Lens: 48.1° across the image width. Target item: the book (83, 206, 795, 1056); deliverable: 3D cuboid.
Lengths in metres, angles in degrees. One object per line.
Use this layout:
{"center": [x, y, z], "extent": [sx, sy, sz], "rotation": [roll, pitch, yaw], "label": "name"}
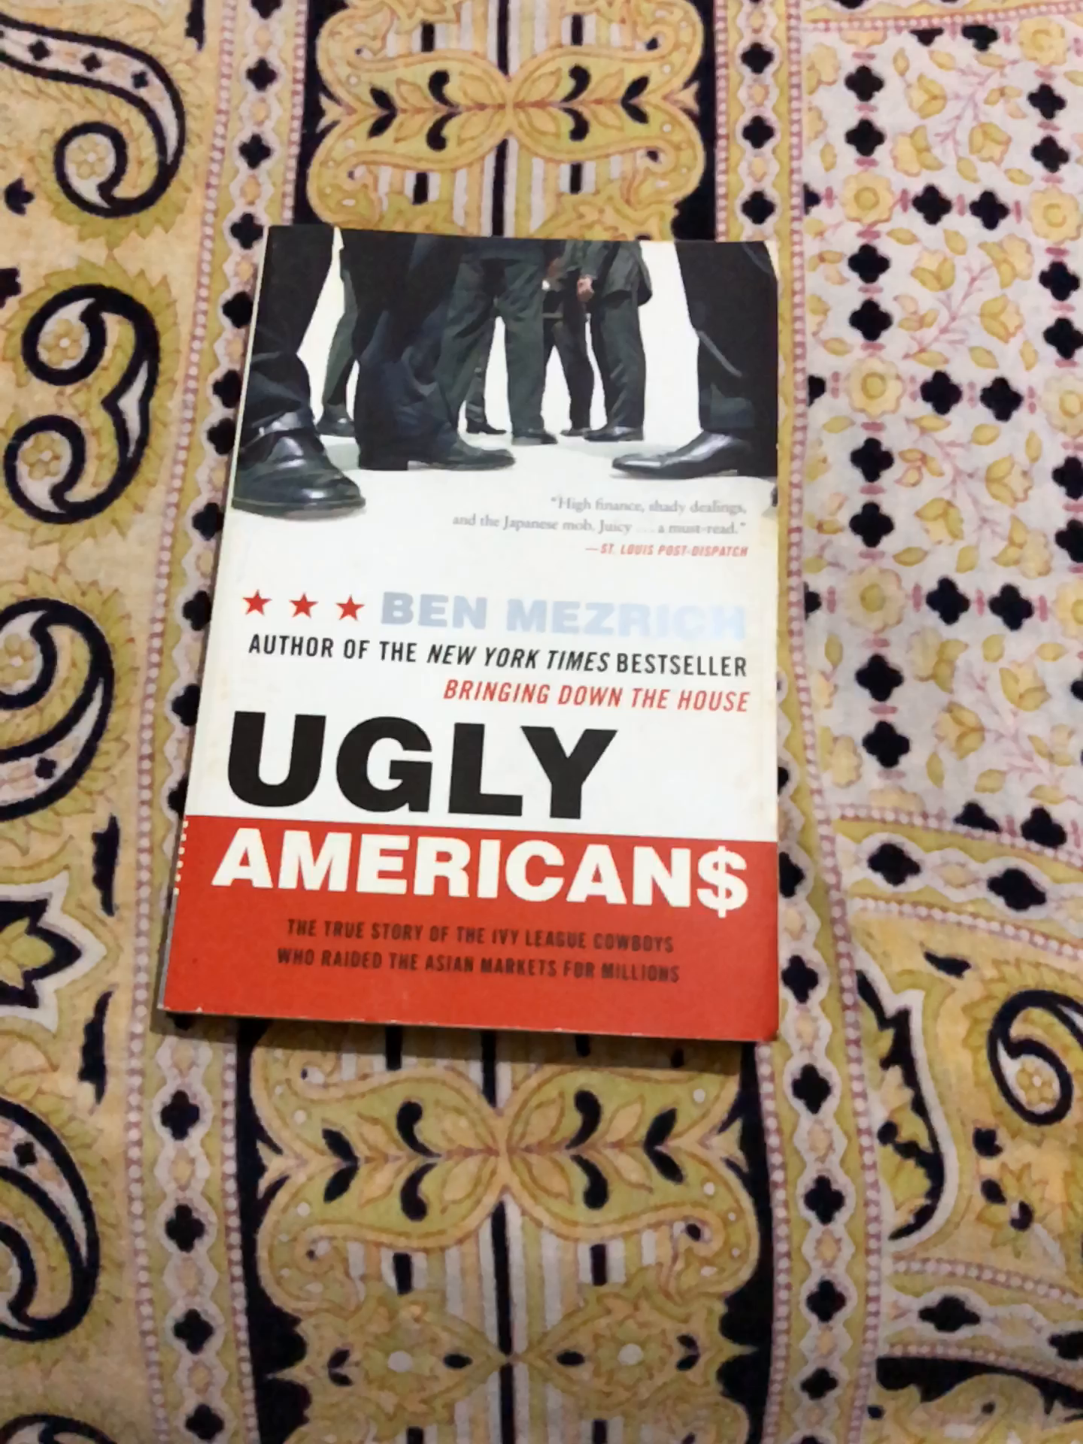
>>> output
{"center": [-0.016, -0.026, 0.277], "extent": [0.140, 0.030, 0.190], "rotation": [2, 75, 2], "label": "book"}
